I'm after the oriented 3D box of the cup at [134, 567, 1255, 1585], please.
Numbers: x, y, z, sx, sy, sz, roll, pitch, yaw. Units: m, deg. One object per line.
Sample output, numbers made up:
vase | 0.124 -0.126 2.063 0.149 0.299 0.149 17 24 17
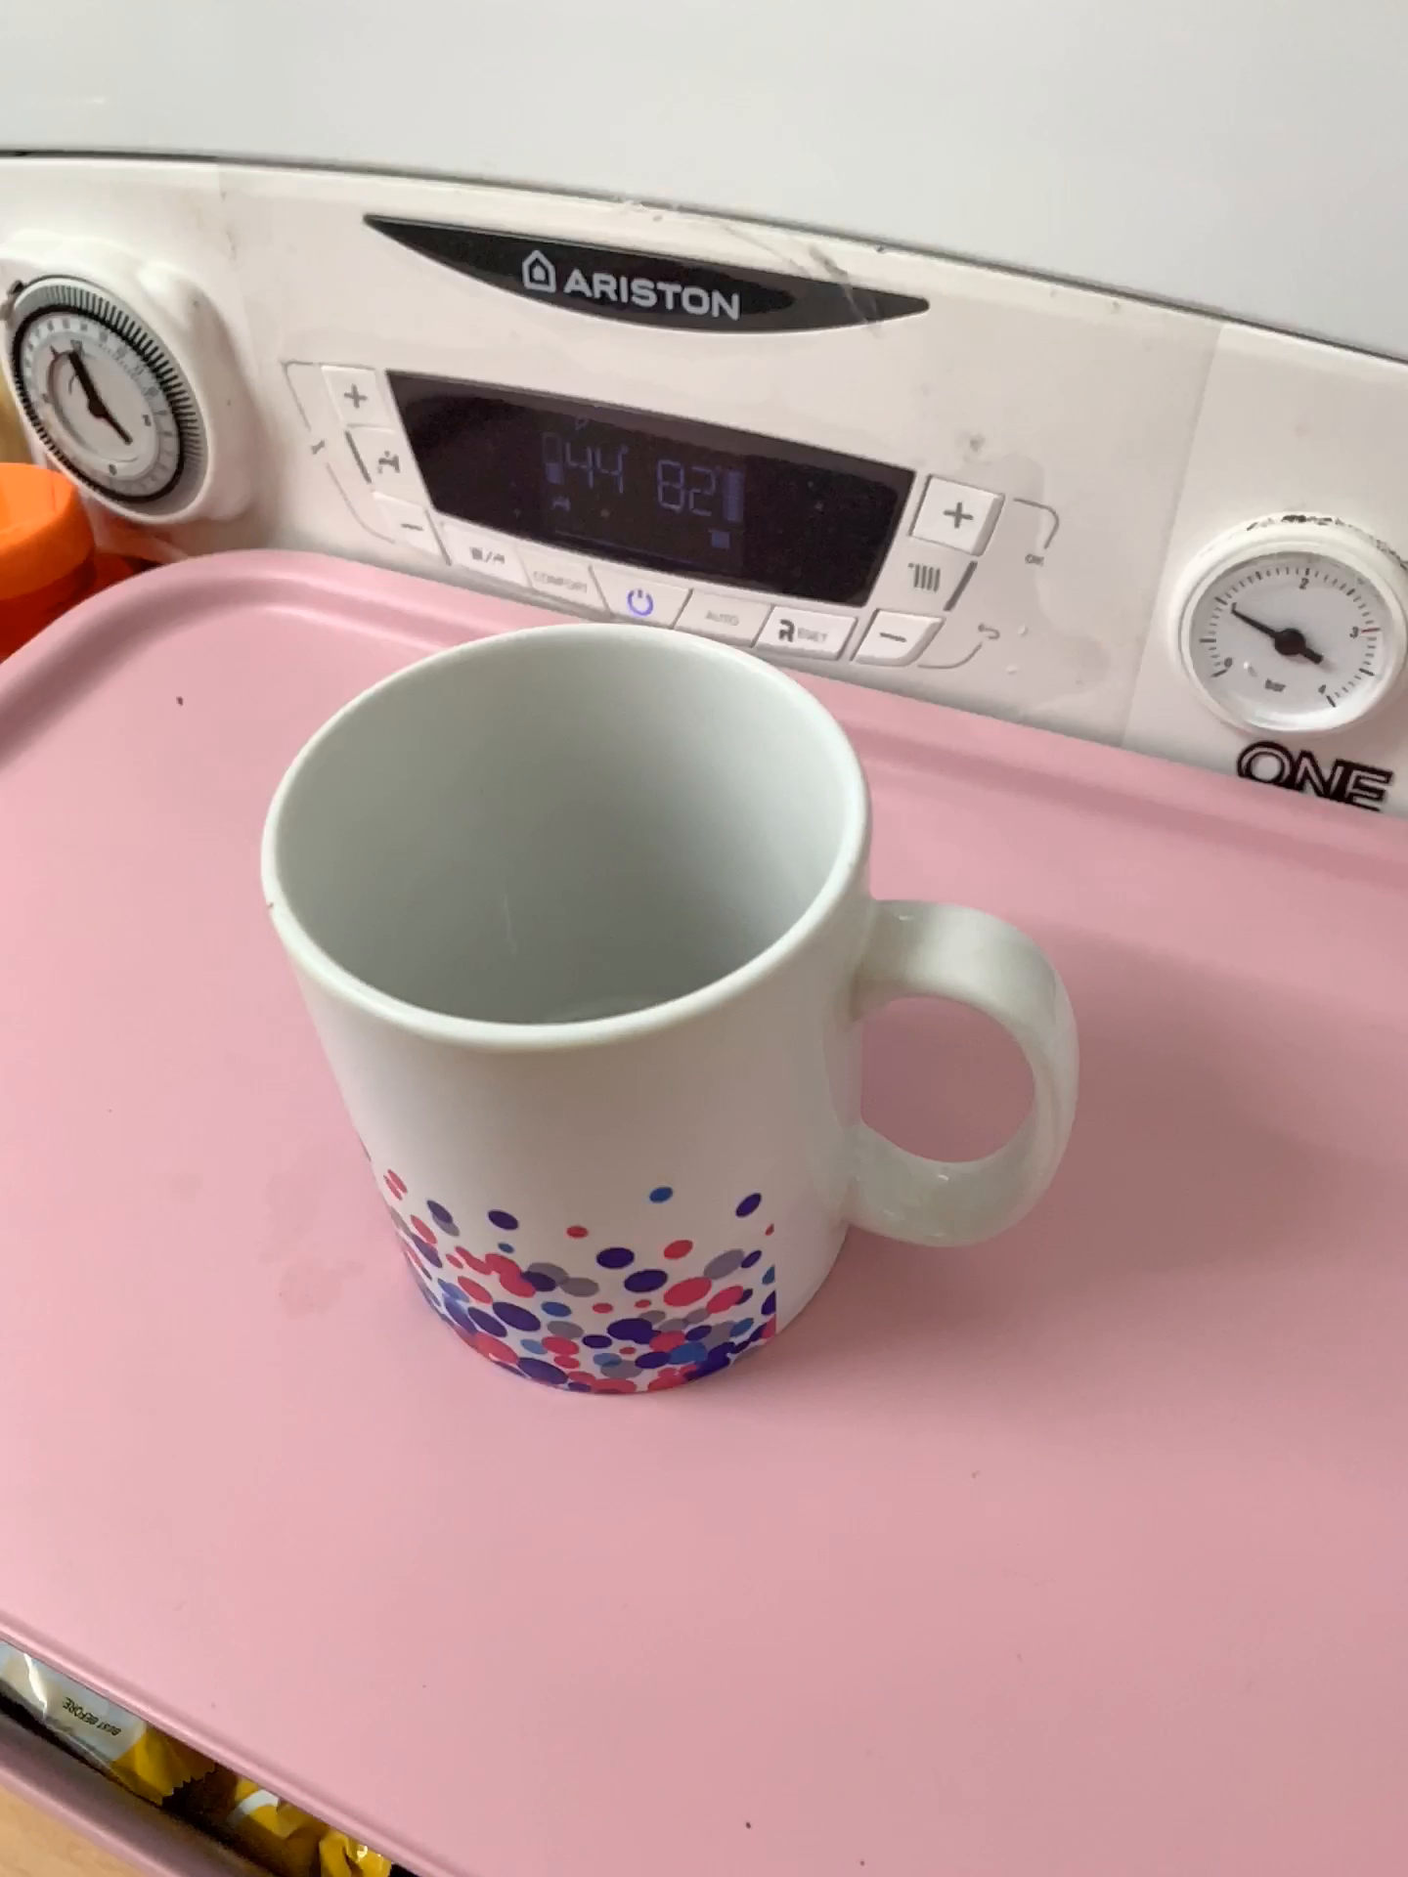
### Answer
cup | 0.003 0.016 0.214 0.120 0.089 0.081 15 45 16
